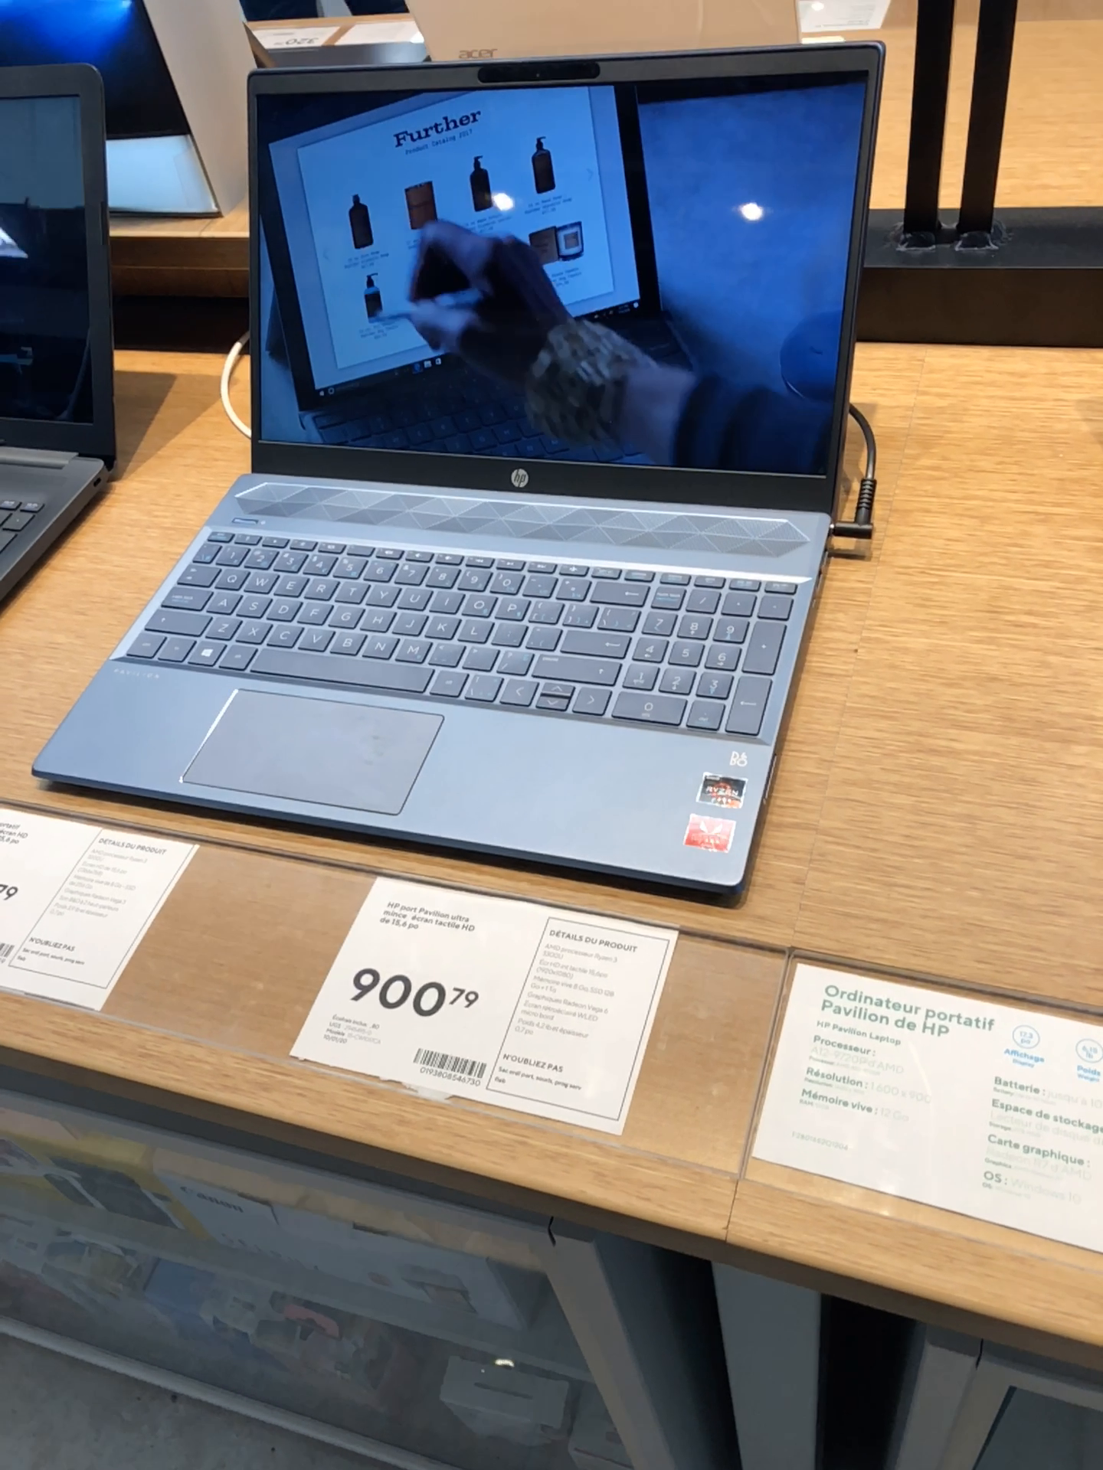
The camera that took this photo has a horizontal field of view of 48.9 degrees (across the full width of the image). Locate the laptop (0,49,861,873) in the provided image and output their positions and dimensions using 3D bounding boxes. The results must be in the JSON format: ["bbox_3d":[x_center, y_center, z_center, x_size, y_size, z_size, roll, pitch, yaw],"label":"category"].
[{"bbox_3d":[-0.050,-0.158,0.583,0.338,0.185,0.357,8,49,17],"label":"laptop"}]
